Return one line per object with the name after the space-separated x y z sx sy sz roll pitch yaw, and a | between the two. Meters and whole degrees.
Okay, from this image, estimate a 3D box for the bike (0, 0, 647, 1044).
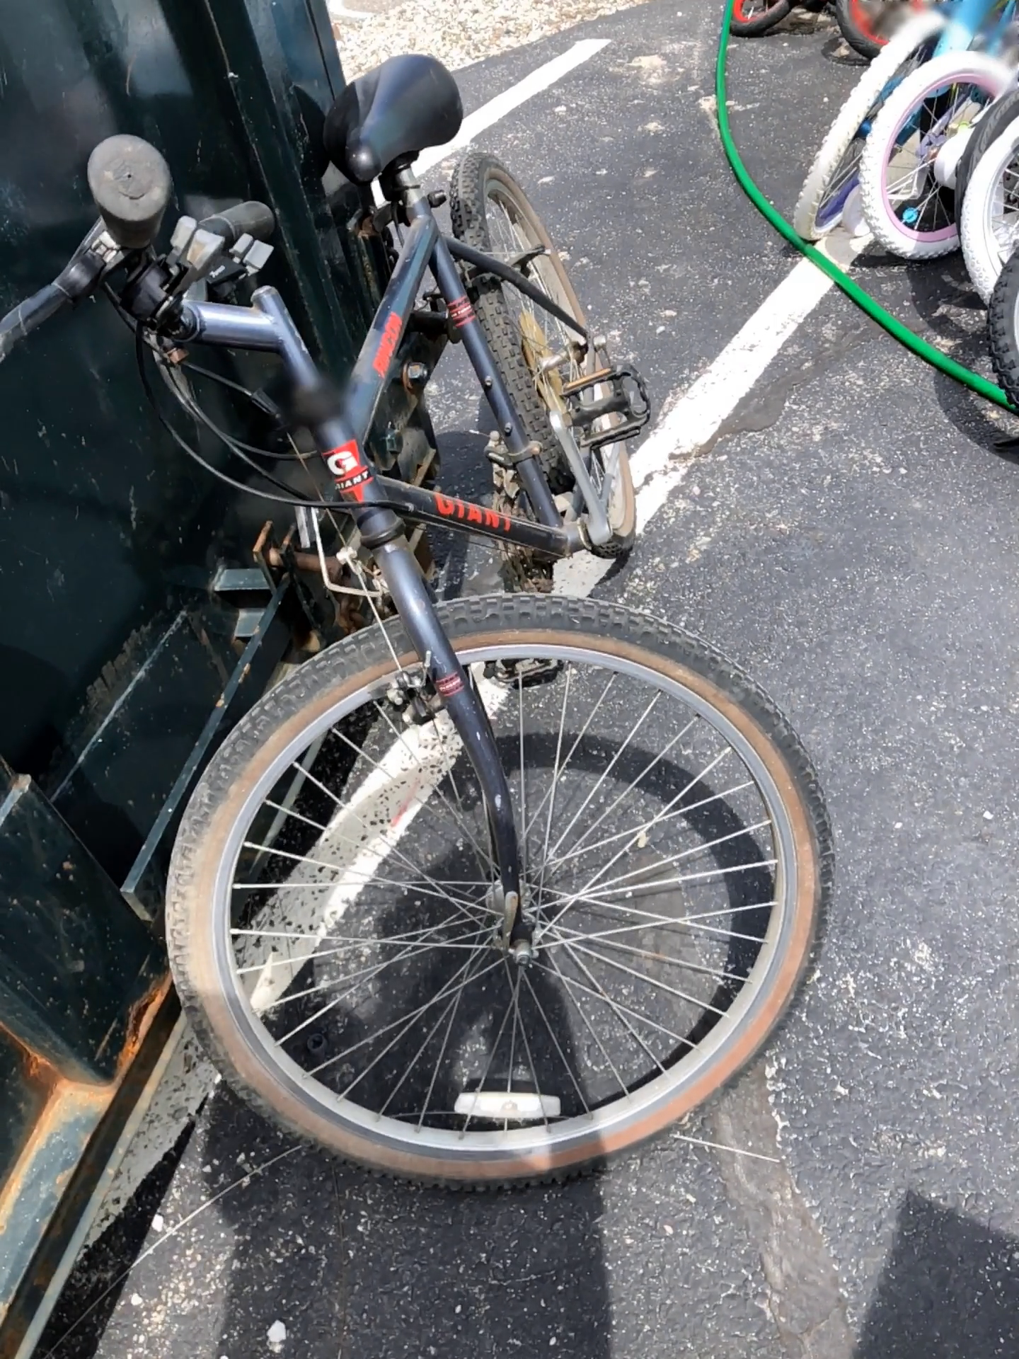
-0.354 -0.291 1.268 0.634 0.832 1.104 9 46 17 | bike
